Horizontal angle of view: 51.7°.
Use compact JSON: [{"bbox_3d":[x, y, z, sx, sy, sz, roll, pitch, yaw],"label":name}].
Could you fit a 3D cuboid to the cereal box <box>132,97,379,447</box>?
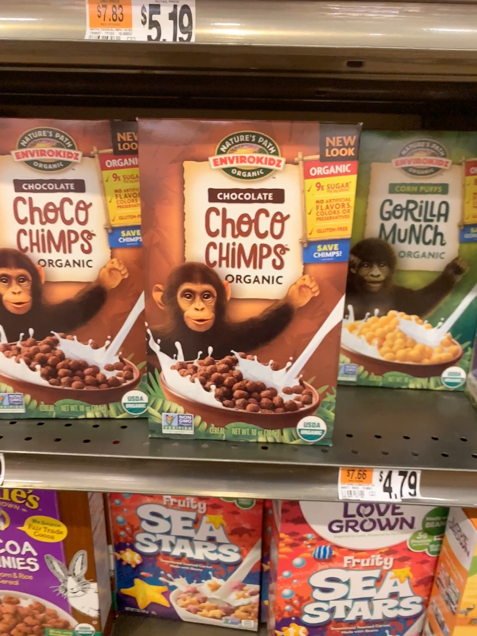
[{"bbox_3d":[0.009,-0.031,0.409,0.170,0.269,0.060,2,18,2],"label":"cereal box"}]
